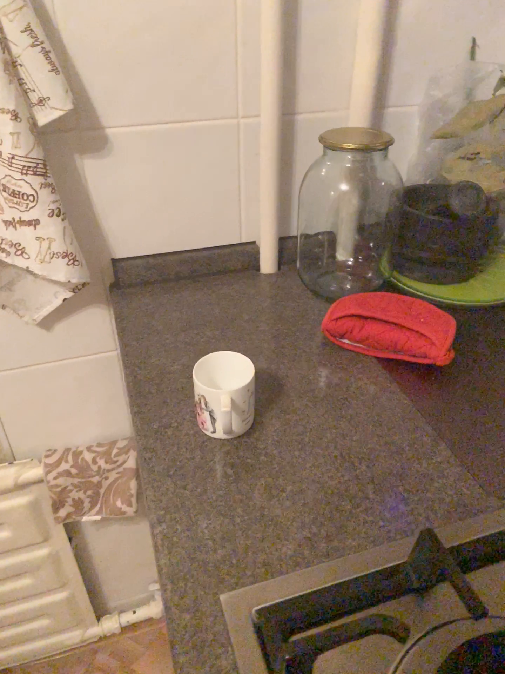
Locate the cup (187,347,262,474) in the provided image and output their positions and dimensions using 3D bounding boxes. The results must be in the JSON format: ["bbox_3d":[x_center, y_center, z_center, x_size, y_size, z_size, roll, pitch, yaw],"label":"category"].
[{"bbox_3d":[-0.027,0.066,0.482,0.060,0.069,0.091,-4,34,-5],"label":"cup"}]
